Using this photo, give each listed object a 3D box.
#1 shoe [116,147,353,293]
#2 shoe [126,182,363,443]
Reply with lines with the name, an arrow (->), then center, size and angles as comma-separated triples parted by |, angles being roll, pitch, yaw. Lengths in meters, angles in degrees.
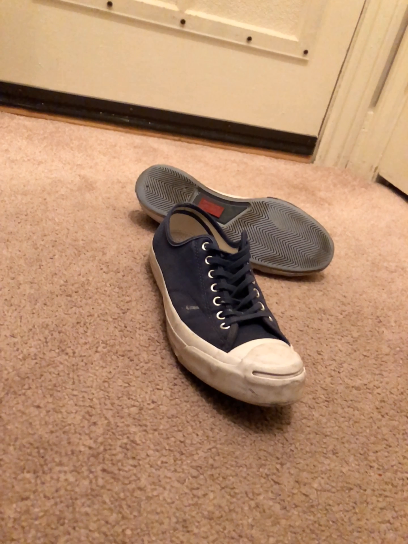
shoe -> 0.042, -0.072, 0.645 | 0.296, 0.104, 0.099 | 20, 2, 7
shoe -> 0.012, 0.015, 0.462 | 0.116, 0.098, 0.287 | 0, 33, -23
